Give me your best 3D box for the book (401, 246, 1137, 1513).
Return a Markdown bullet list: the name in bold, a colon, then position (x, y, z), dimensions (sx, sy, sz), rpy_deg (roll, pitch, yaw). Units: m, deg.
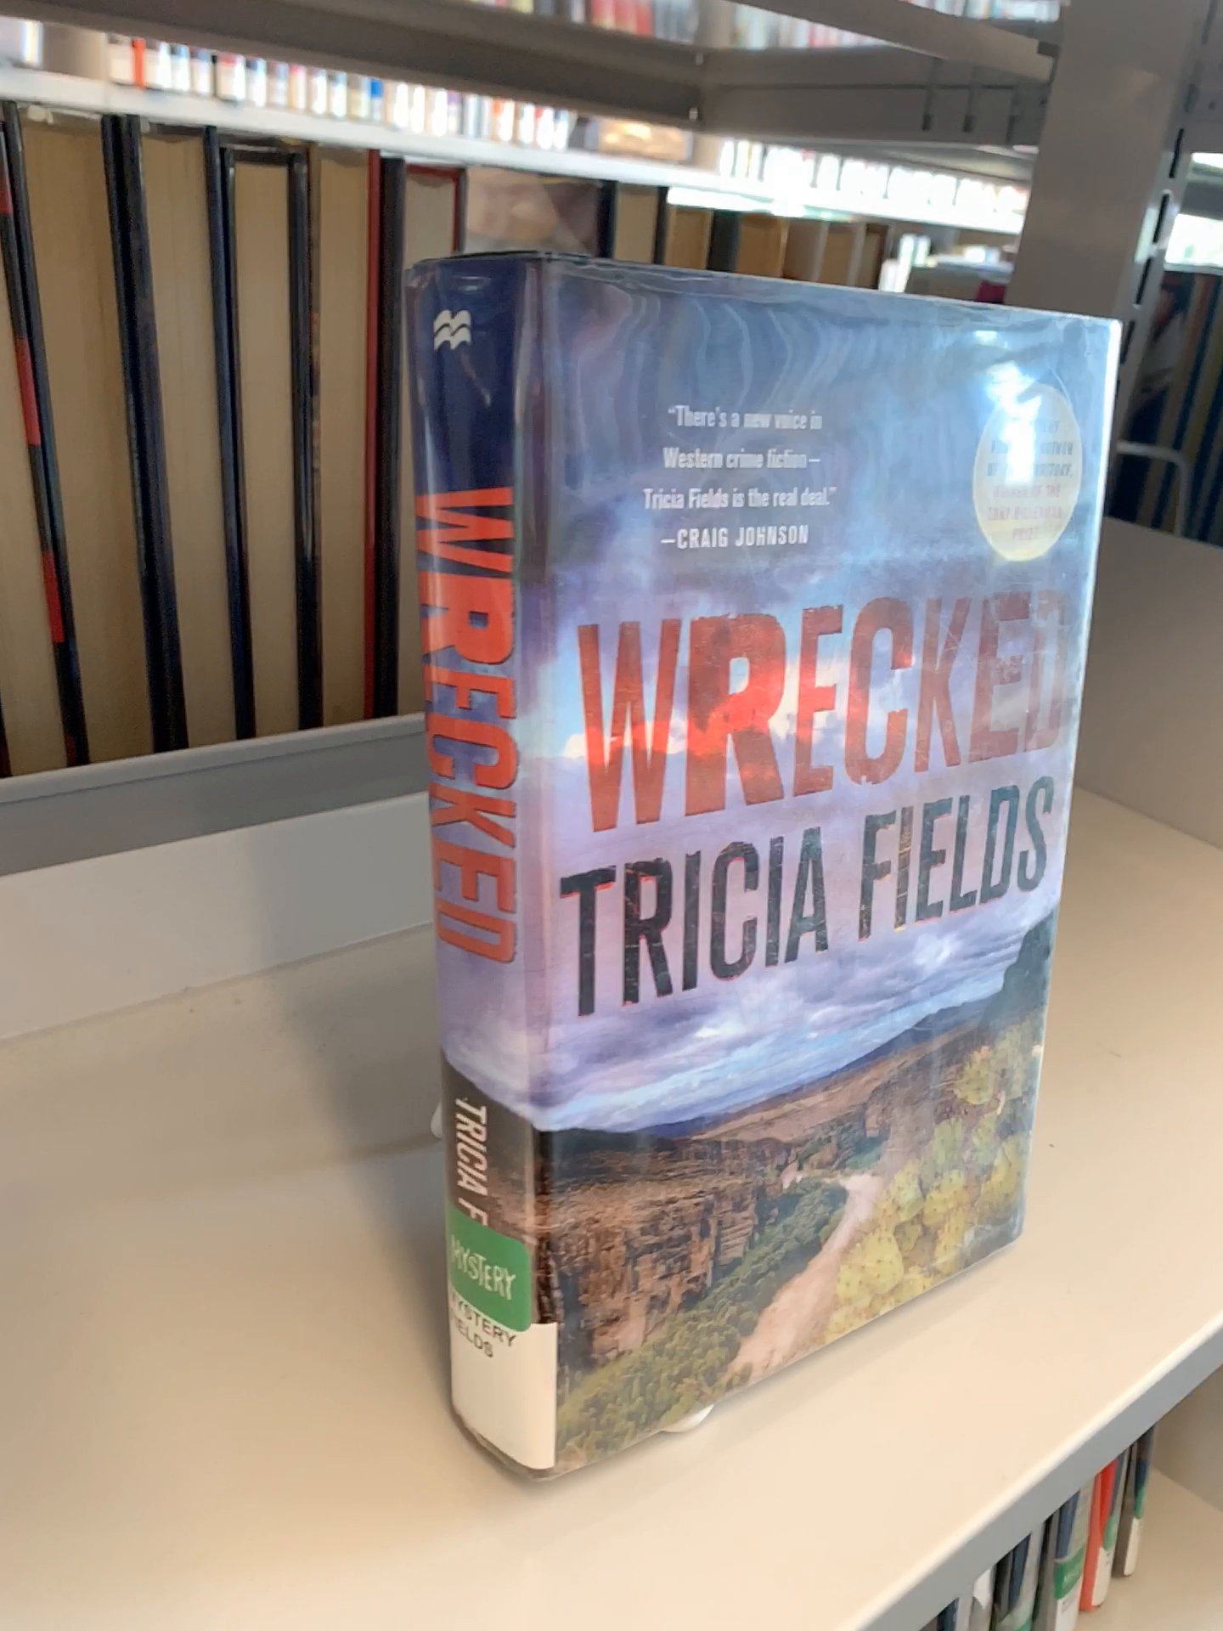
- **book**: position (0.036, 0.008, 0.257), dimensions (0.147, 0.213, 0.035), rpy_deg (-11, 19, -34)
